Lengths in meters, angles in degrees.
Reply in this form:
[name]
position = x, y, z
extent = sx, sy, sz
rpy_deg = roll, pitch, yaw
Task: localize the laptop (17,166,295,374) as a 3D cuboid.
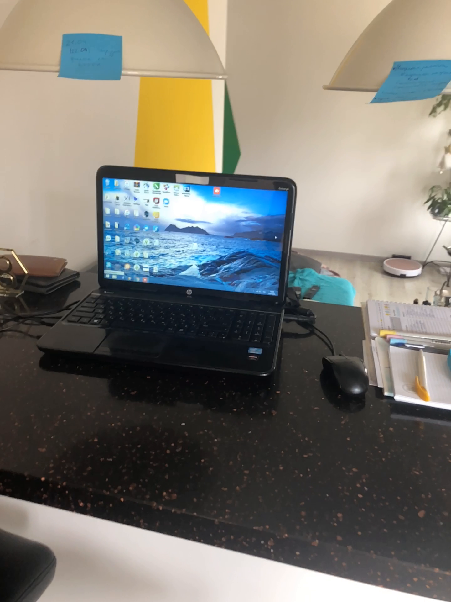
[laptop]
position = -0.084, -0.073, 0.811
extent = 0.360, 0.217, 0.268
rpy_deg = 6, 24, 9
